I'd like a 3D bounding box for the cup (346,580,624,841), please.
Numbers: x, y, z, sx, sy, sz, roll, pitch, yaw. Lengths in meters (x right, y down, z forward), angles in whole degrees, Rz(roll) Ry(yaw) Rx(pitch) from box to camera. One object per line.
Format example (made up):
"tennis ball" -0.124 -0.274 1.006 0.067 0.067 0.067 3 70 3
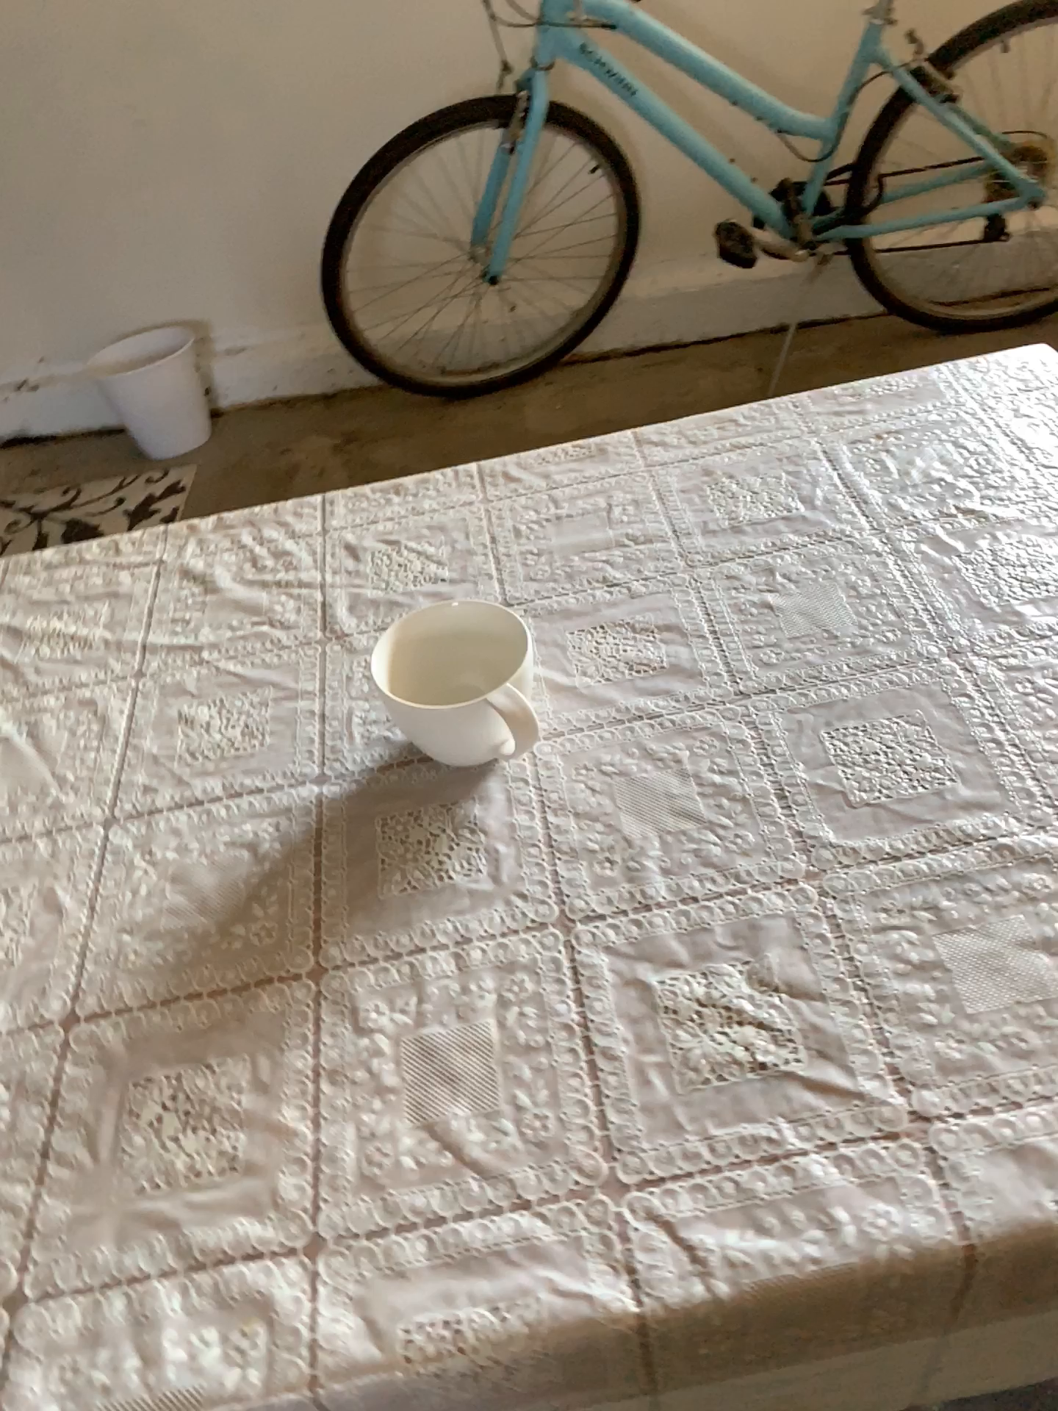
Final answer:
"cup" -0.027 -0.001 0.693 0.100 0.070 0.141 -38 50 -25
